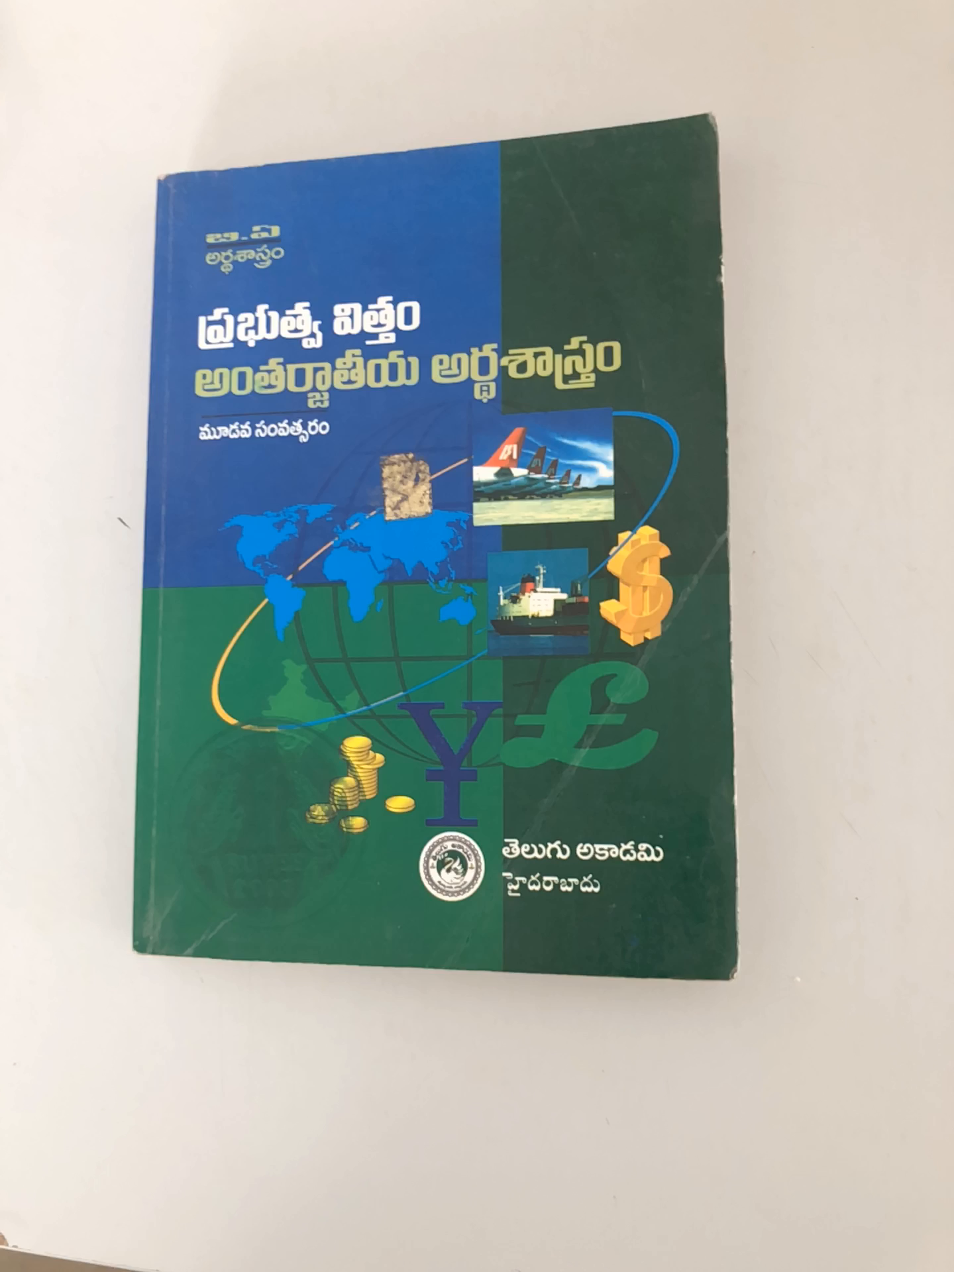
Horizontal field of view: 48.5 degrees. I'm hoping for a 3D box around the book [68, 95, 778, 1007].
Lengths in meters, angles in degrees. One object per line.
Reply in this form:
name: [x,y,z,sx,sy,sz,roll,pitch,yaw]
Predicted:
book: [-0.014,-0.025,0.316,0.190,0.050,0.240,-1,83,10]
